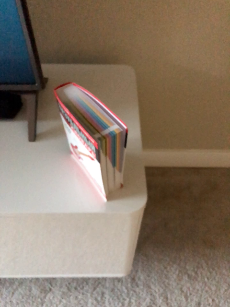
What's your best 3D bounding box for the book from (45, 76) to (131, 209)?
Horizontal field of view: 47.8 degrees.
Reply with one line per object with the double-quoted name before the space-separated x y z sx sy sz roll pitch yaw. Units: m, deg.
"book" -0.048 -0.014 0.463 0.060 0.179 0.150 -29 56 -23
